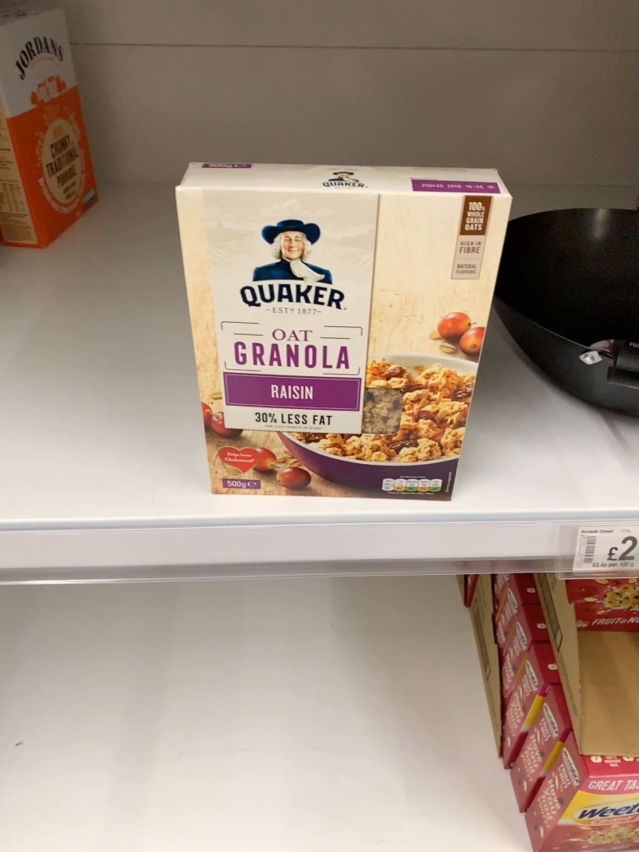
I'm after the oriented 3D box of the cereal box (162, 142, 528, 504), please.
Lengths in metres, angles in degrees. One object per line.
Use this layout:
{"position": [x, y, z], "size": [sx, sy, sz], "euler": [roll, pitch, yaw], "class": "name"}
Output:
{"position": [0.012, -0.057, 0.459], "size": [0.200, 0.247, 0.061], "euler": [1, 38, 0], "class": "cereal box"}
